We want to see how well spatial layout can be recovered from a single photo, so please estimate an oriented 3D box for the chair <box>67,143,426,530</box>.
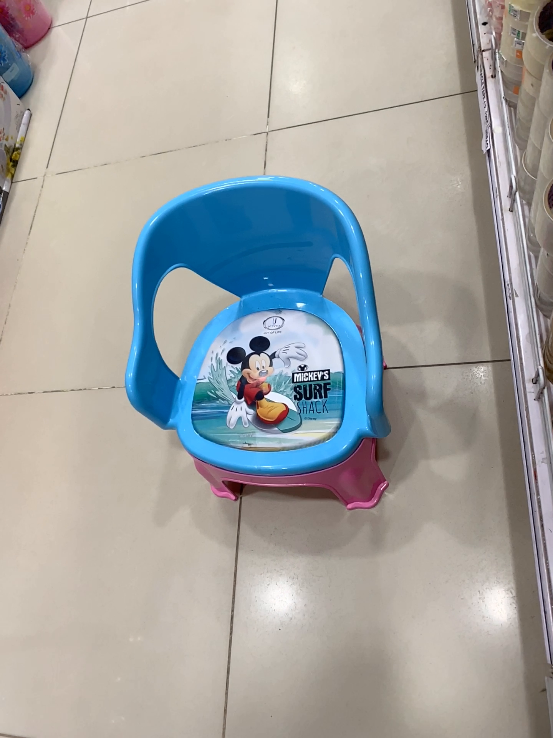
[{"bbox_3d":[0.007,-0.018,0.775,0.351,0.319,0.390,0,67,19],"label":"chair"}]
